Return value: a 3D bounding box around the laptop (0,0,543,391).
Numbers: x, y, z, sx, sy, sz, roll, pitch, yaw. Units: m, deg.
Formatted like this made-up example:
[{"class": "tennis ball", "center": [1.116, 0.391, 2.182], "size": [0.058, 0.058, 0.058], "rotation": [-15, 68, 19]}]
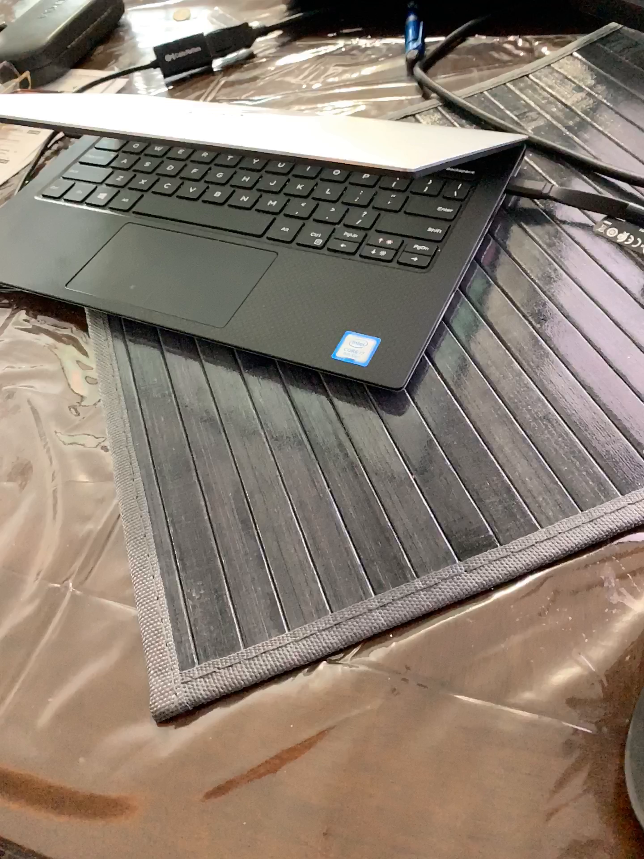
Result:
[{"class": "laptop", "center": [-0.061, -0.151, 0.346], "size": [0.290, 0.085, 0.185], "rotation": [17, 57, 23]}]
